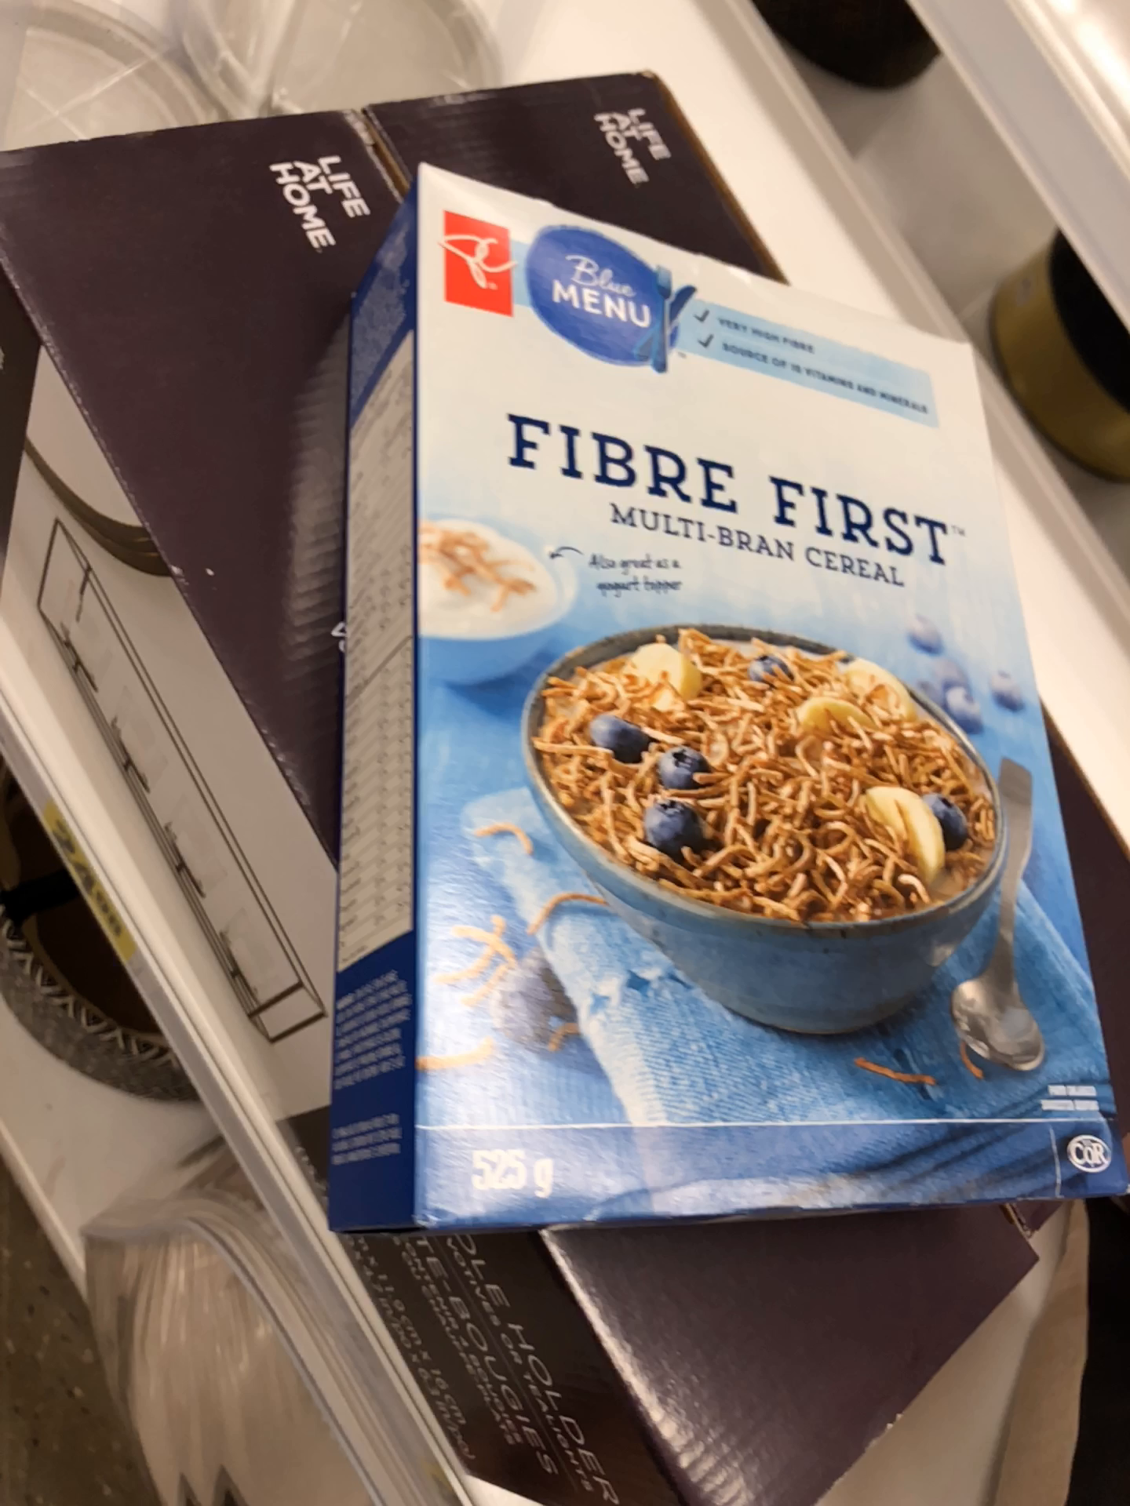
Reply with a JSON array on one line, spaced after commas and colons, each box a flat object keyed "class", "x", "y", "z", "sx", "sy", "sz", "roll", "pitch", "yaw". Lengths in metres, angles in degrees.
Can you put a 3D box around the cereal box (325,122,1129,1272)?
[{"class": "cereal box", "x": 0.047, "y": -0.010, "z": 0.334, "sx": 0.201, "sy": 0.060, "sz": 0.260, "roll": 7, "pitch": 68, "yaw": -26}]
